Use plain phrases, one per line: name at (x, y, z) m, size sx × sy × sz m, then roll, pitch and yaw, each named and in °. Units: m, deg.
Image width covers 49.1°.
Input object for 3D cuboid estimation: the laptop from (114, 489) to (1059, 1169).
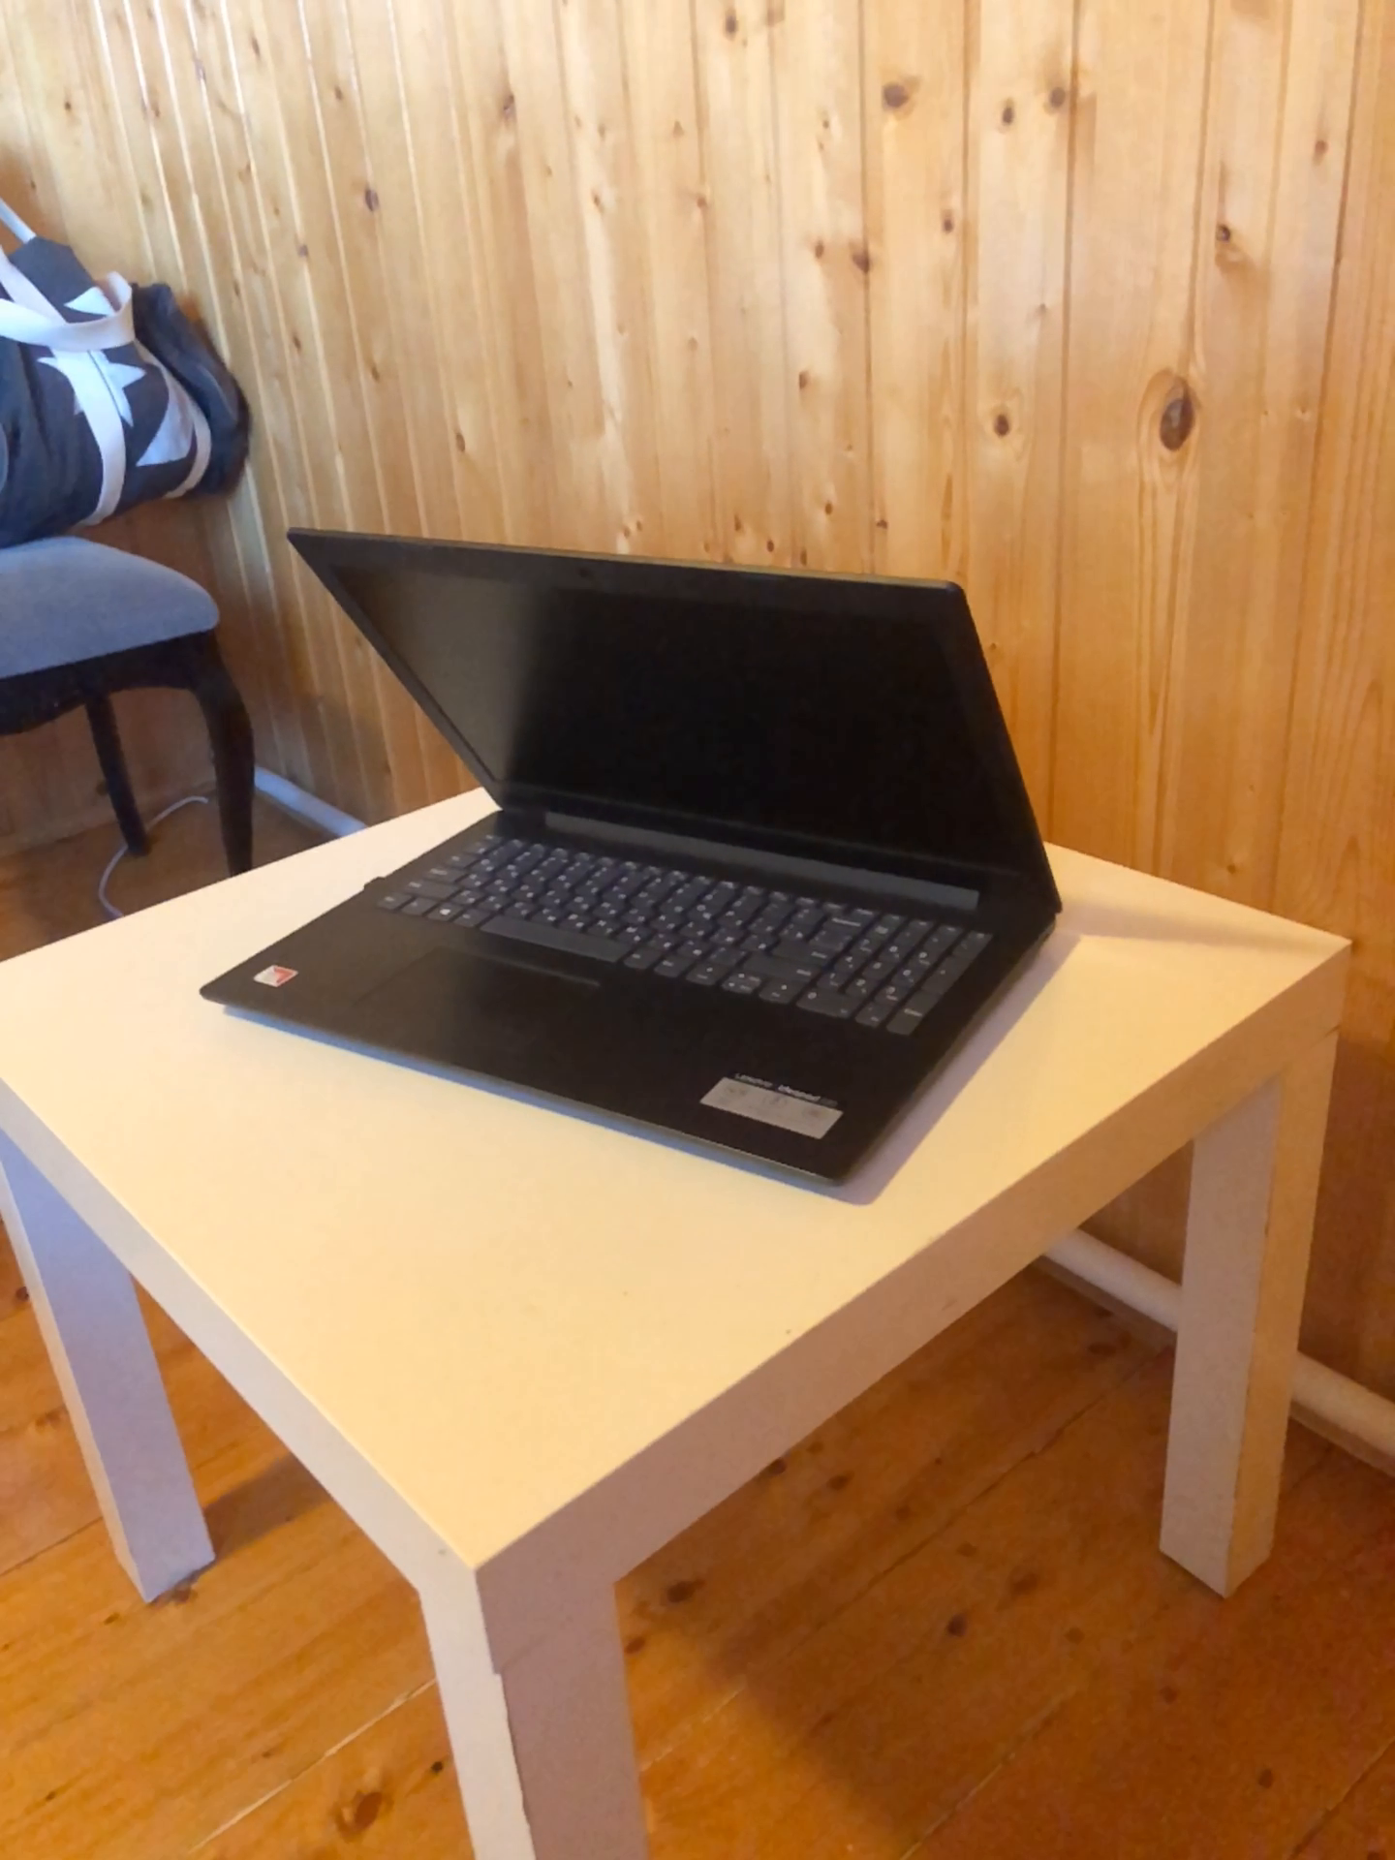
laptop at (-0.045, -0.083, 0.760) m, size 0.373 × 0.206 × 0.251 m, roll 12°, pitch 31°, yaw 31°
